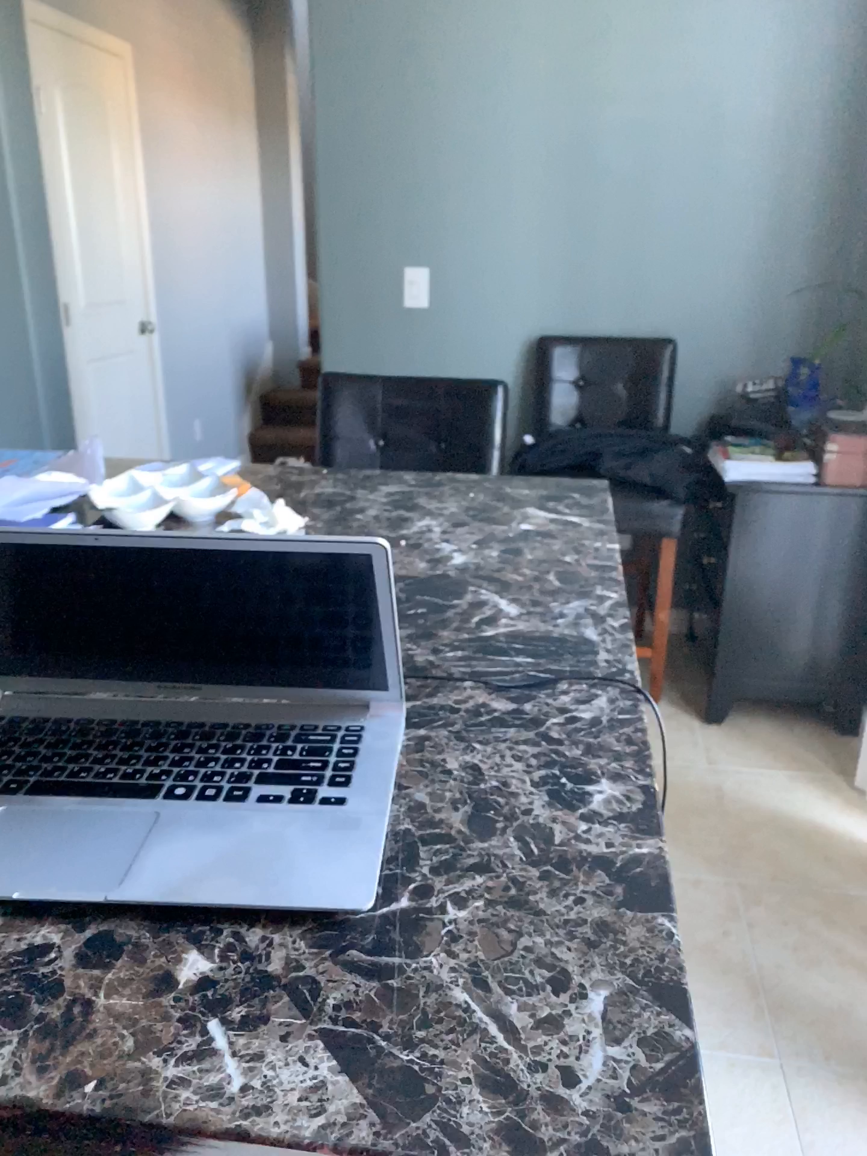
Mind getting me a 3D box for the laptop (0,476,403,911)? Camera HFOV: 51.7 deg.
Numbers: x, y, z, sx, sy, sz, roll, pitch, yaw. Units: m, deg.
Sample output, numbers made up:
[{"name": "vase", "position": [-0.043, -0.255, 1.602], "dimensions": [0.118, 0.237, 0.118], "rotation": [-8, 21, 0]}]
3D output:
[{"name": "laptop", "position": [-0.209, 0.055, 0.596], "dimensions": [0.361, 0.188, 0.235], "rotation": [1, 20, 3]}]
